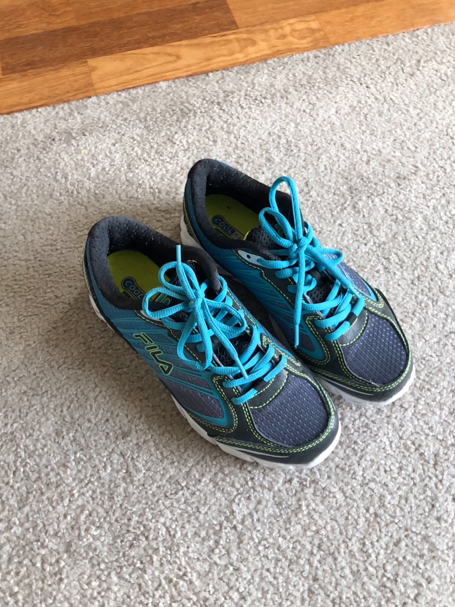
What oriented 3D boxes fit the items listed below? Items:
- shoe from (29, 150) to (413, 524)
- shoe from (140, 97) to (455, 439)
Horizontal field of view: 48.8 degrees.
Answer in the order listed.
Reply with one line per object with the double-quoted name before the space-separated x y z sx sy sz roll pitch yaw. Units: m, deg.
"shoe" -0.016 0.023 0.396 0.105 0.119 0.271 -40 70 -21
"shoe" 0.062 -0.032 0.428 0.275 0.119 0.102 42 70 17
